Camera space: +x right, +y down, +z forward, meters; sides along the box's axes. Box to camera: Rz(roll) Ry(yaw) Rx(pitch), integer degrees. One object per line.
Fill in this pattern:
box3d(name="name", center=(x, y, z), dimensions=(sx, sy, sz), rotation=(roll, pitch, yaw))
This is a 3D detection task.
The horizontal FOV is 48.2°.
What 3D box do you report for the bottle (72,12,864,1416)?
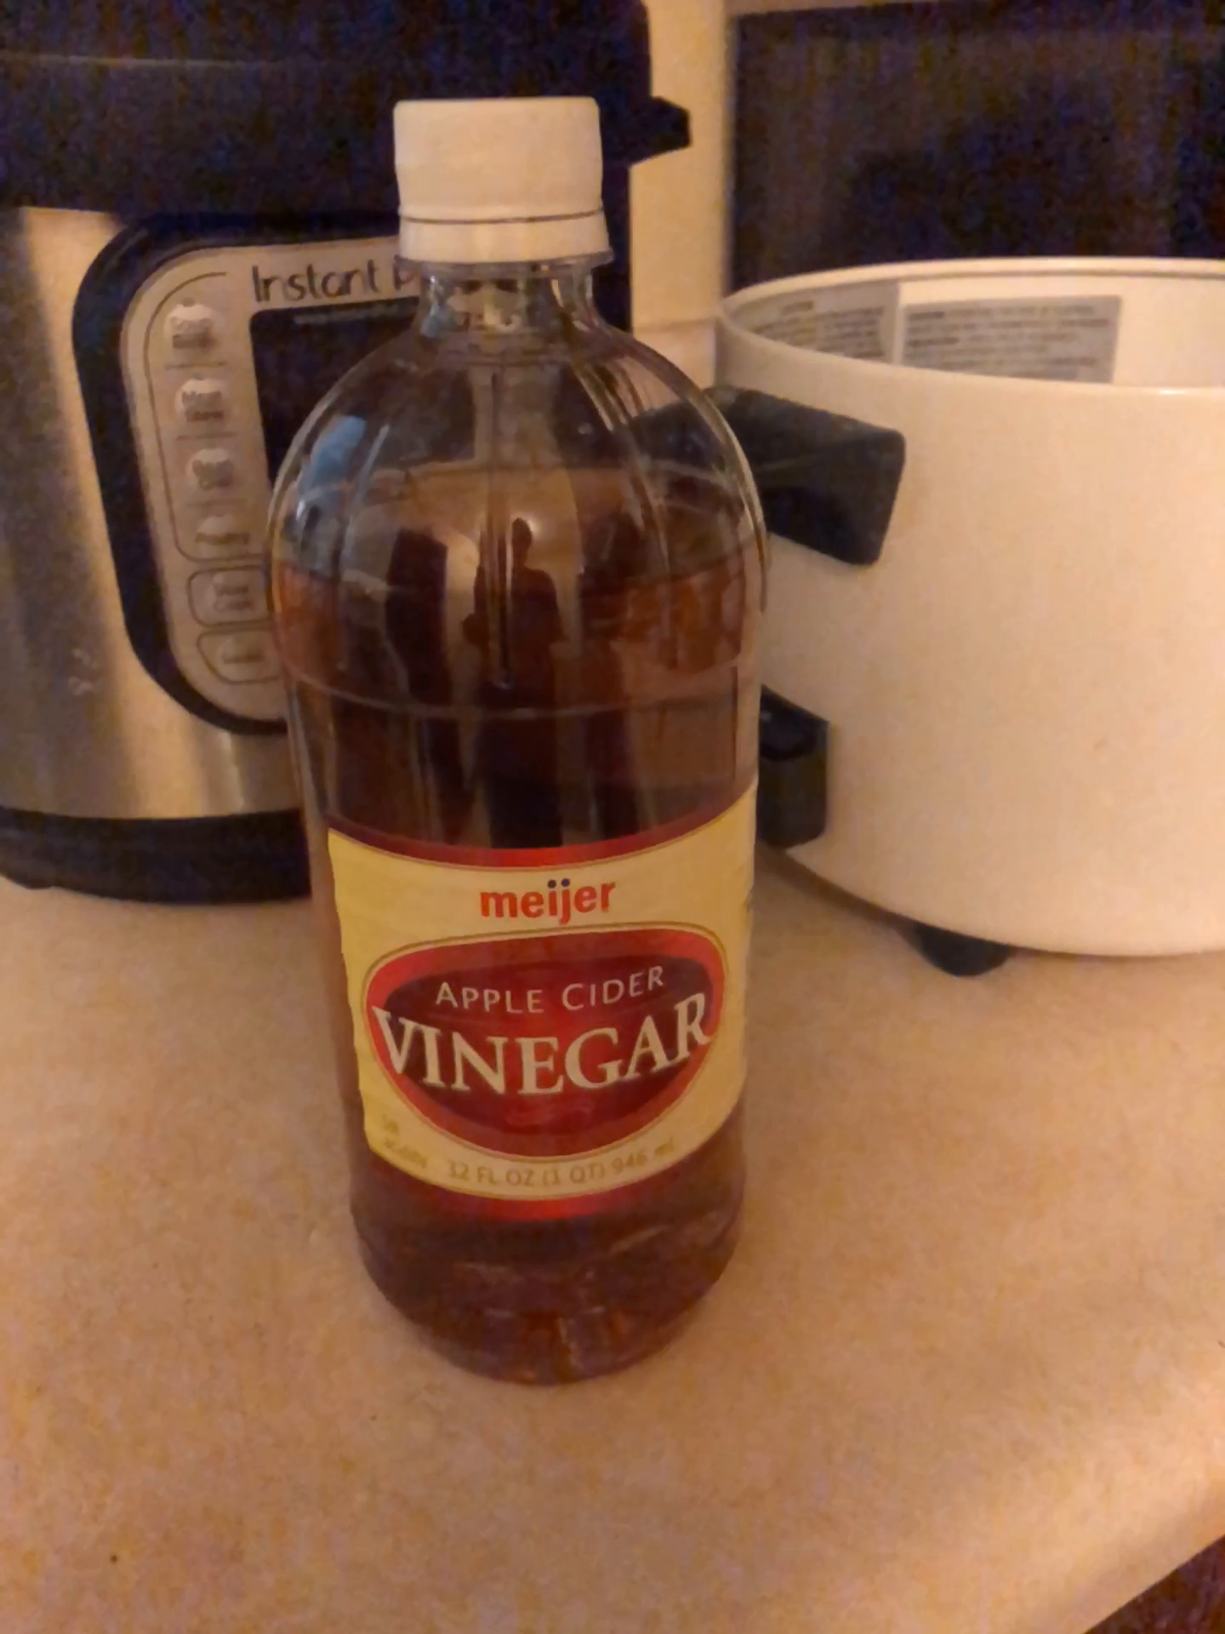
box3d(name="bottle", center=(-0.016, -0.008, 0.245), dimensions=(0.090, 0.229, 0.080), rotation=(-3, 28, -3))
